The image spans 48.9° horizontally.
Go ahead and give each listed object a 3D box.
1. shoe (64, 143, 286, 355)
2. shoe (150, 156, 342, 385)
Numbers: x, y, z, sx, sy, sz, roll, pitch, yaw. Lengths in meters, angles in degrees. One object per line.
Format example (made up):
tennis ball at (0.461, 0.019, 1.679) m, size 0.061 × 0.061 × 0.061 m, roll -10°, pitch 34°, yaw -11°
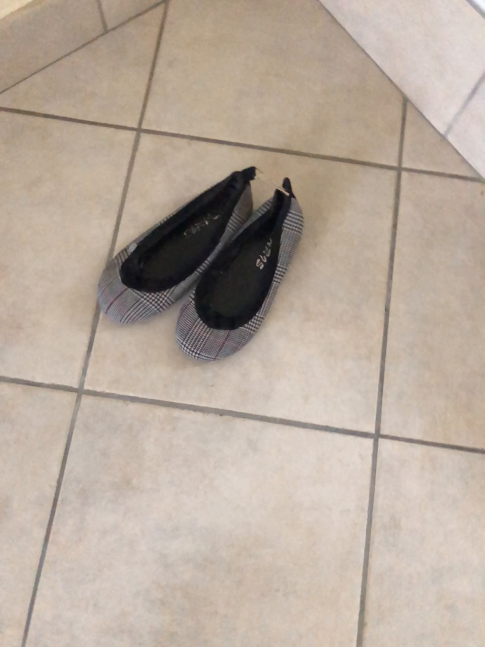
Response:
shoe at (-0.065, -0.077, 0.558) m, size 0.210 × 0.070 × 0.090 m, roll -42°, pitch 81°, yaw -11°
shoe at (0.006, -0.054, 0.552) m, size 0.090 × 0.070 × 0.210 m, roll 31°, pitch 77°, yaw 6°
